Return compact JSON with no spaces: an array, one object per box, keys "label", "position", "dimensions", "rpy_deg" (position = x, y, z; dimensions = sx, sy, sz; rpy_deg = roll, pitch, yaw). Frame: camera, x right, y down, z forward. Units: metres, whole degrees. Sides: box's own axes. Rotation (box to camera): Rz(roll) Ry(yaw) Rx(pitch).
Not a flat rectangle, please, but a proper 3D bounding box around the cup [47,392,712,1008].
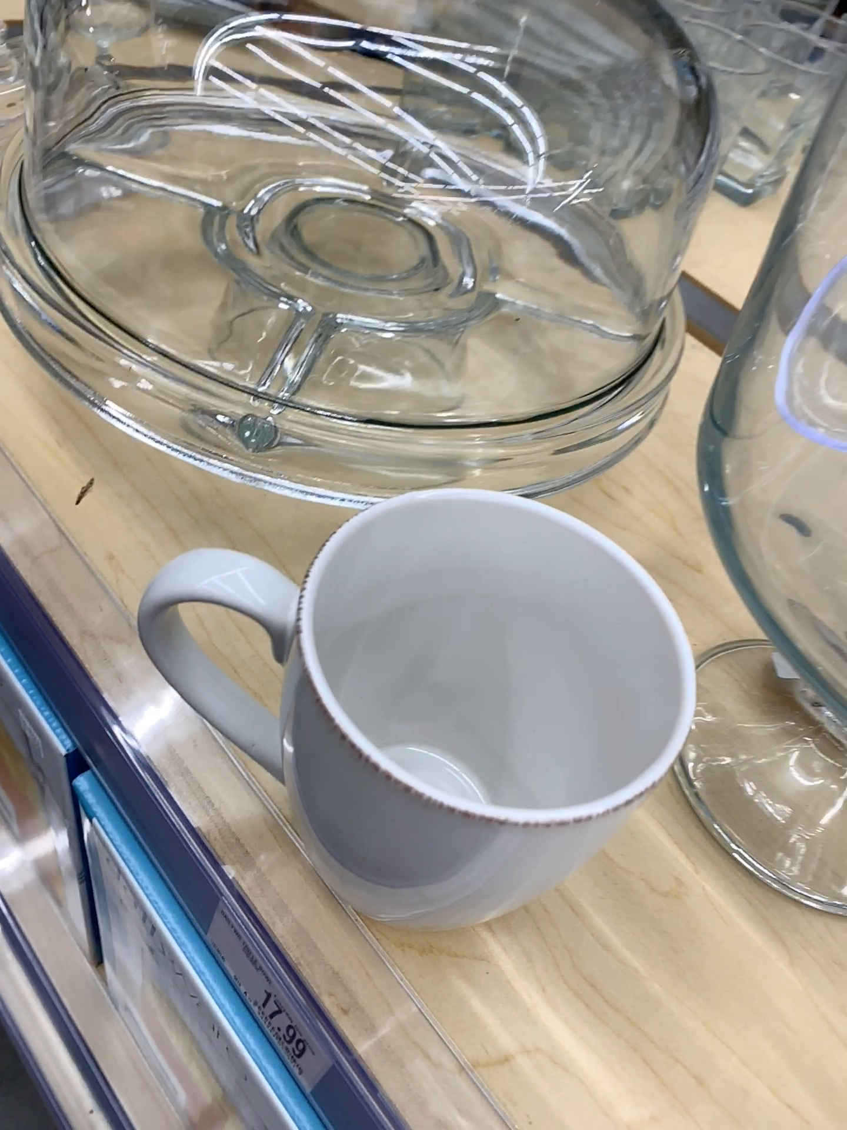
[{"label":"cup","position":[-0.008,0.038,0.231],"dimensions":[0.130,0.094,0.096],"rpy_deg":[16,49,-2]}]
